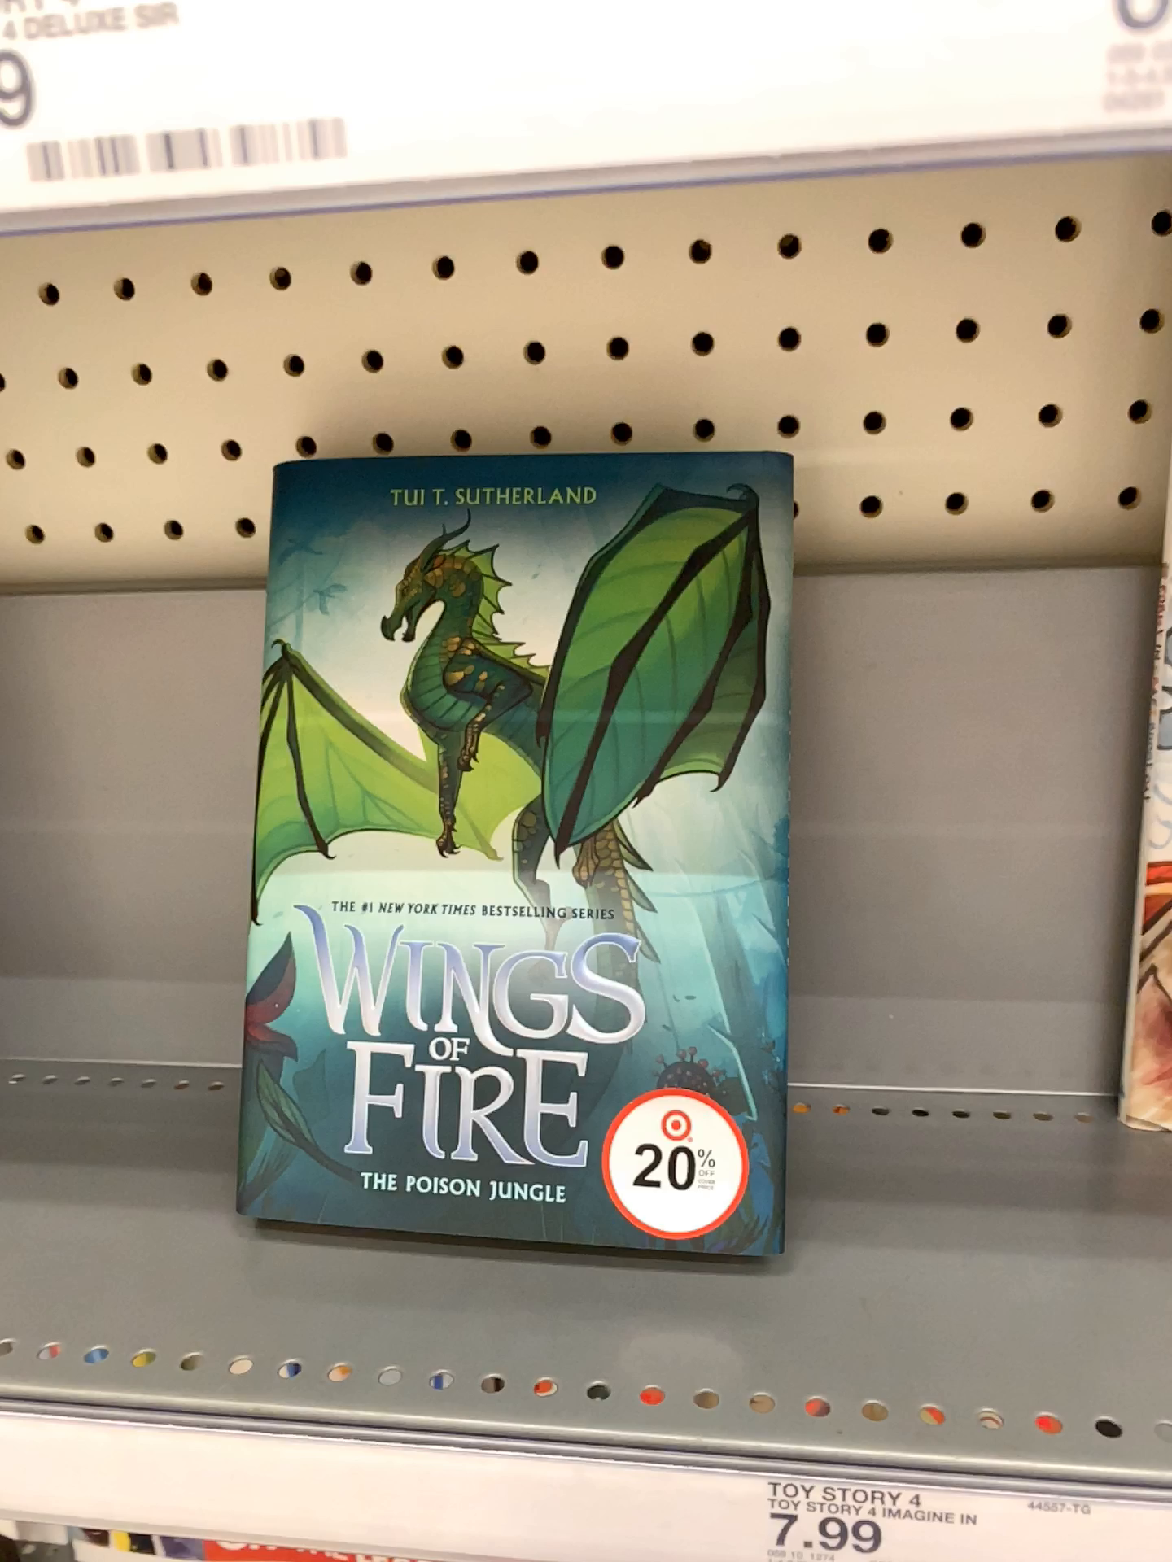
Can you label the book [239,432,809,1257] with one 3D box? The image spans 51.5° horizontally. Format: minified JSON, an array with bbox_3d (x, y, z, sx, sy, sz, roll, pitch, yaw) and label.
[{"bbox_3d":[-0.014,0.013,0.347,0.150,0.215,0.036,1,-7,10],"label":"book"}]
